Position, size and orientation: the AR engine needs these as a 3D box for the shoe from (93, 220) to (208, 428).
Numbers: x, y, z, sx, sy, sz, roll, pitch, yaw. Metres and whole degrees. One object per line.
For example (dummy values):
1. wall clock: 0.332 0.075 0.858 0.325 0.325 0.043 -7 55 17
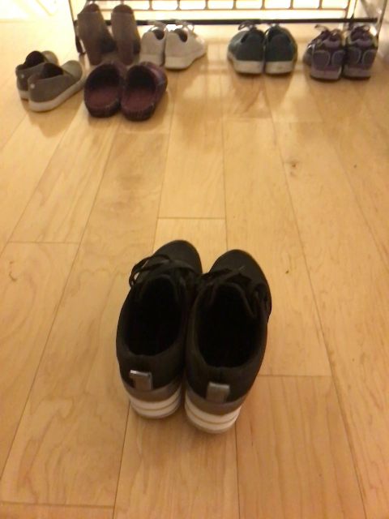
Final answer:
1. shoe: -0.041 0.069 0.545 0.100 0.099 0.252 3 44 4

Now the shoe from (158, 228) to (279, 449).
1. shoe: 0.041 0.083 0.533 0.110 0.099 0.252 7 44 8
